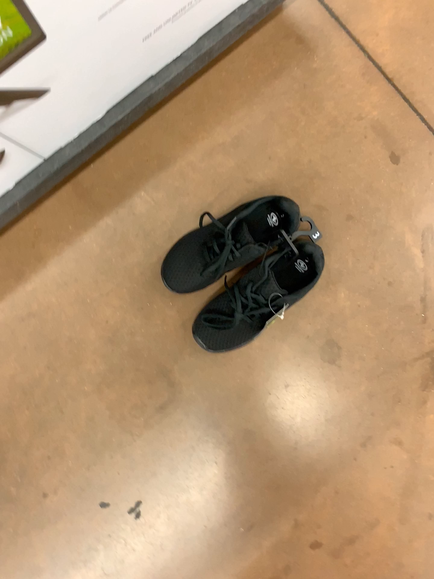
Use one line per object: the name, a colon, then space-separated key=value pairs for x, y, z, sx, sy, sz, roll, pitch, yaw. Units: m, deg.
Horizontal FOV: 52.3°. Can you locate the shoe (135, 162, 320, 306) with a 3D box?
shoe: x=0.014 y=-0.073 z=0.623 sx=0.230 sy=0.080 sz=0.090 roll=-29 pitch=87 yaw=-1

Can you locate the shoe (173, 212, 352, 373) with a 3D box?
shoe: x=0.061 y=0.006 z=0.624 sx=0.230 sy=0.080 sz=0.090 roll=-38 pitch=87 yaw=-1
